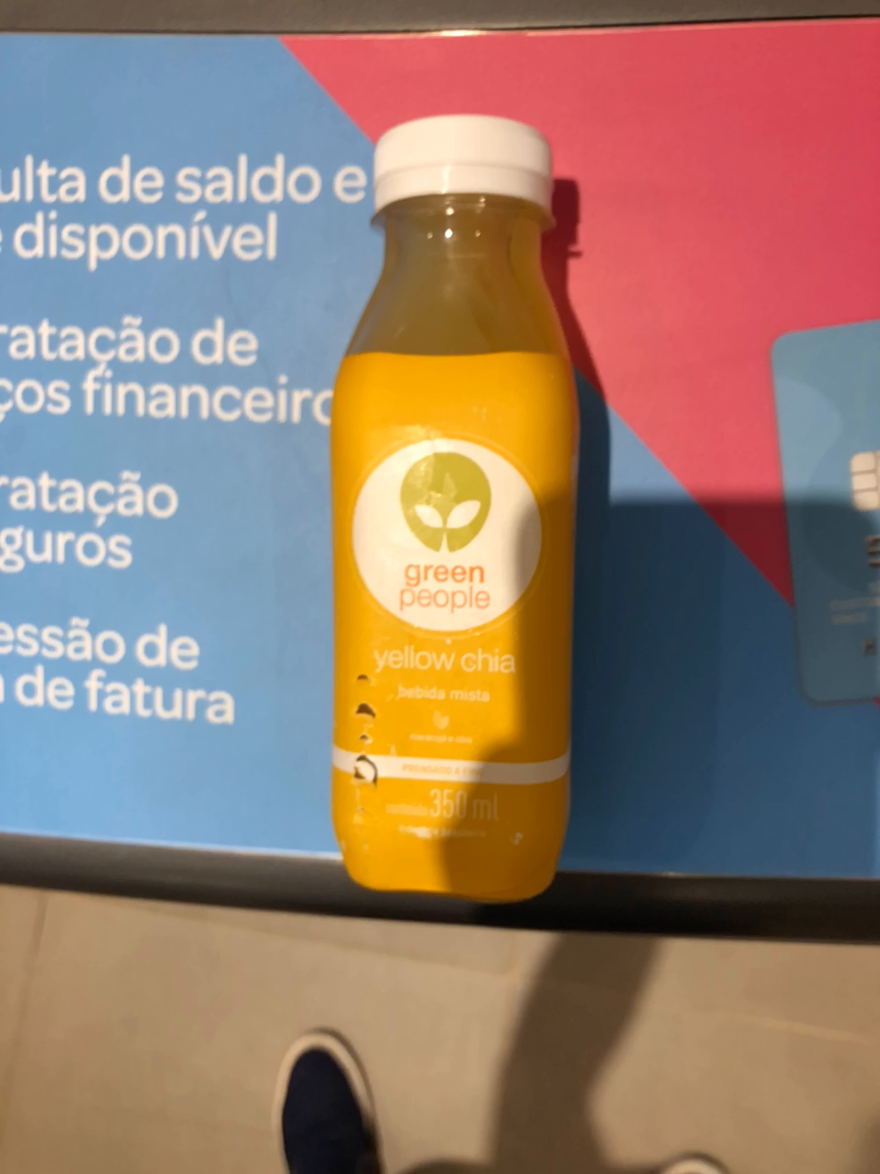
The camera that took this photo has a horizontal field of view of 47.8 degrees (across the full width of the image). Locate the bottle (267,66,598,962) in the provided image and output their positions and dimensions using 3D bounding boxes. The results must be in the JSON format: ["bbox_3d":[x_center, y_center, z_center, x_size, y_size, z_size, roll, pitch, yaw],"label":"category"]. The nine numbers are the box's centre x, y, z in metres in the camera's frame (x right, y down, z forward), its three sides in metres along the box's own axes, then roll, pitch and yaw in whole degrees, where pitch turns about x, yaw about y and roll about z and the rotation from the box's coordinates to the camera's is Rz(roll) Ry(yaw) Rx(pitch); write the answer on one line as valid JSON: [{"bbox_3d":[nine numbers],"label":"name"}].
[{"bbox_3d":[0.001,-0.015,0.234,0.060,0.060,0.180,4,96,10],"label":"bottle"}]
